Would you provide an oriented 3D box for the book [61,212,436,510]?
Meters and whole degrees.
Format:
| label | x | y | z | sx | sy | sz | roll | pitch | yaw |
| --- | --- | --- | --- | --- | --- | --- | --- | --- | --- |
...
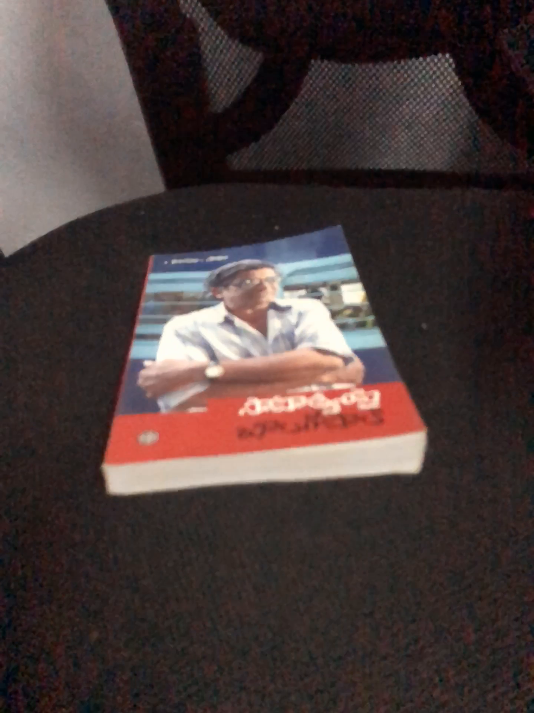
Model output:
| label | x | y | z | sx | sy | sz | roll | pitch | yaw |
| --- | --- | --- | --- | --- | --- | --- | --- | --- | --- |
| book | -0.013 | -0.019 | 0.334 | 0.152 | 0.030 | 0.226 | -6 | 36 | -1 |
